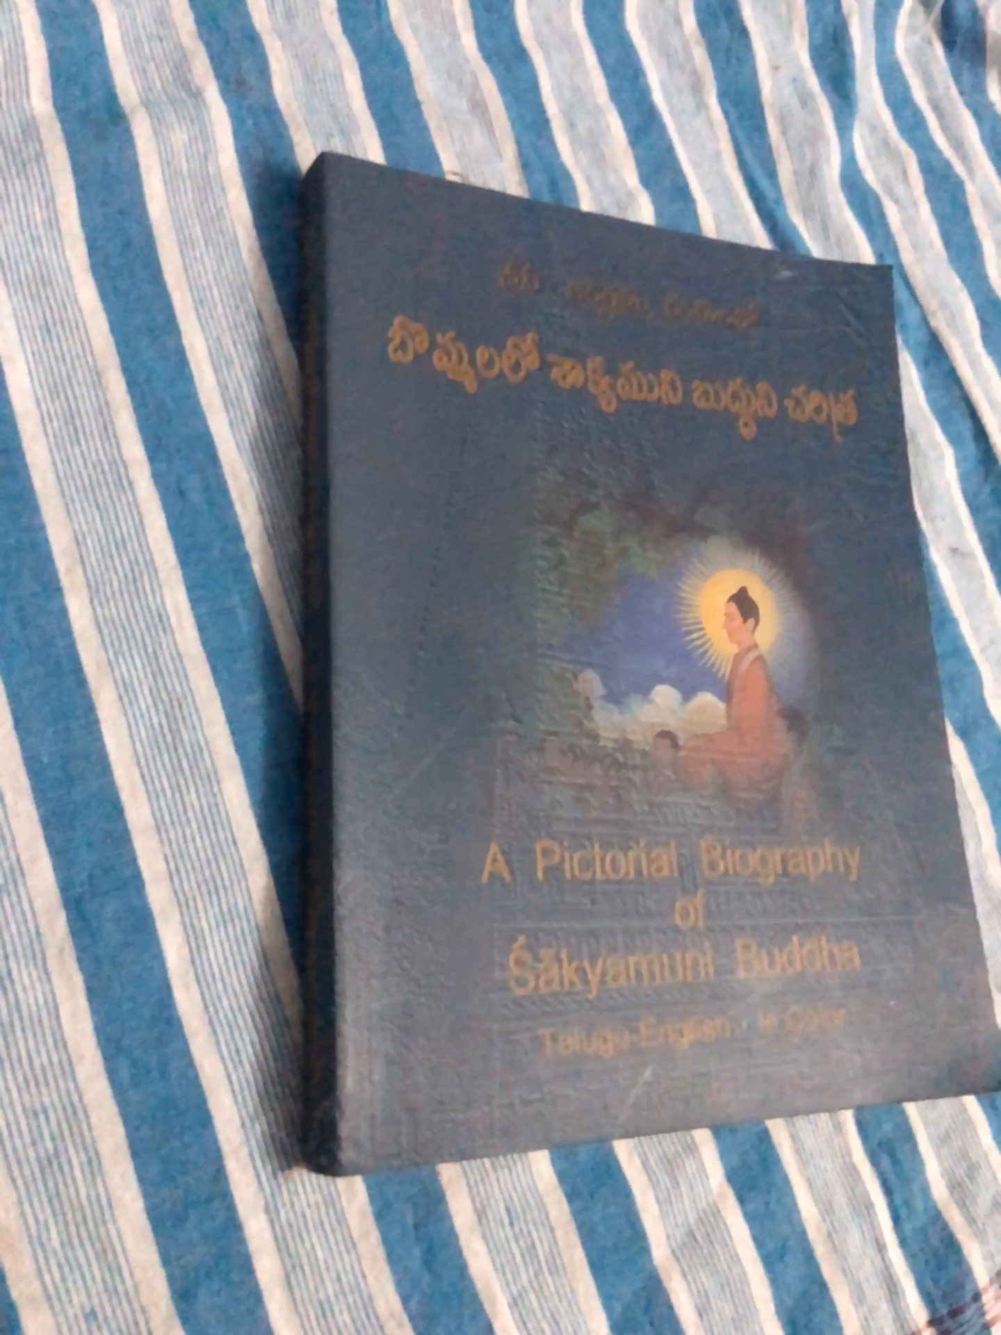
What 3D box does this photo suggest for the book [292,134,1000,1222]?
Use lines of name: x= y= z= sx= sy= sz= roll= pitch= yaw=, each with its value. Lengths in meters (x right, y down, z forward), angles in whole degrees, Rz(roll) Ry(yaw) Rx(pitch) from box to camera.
book: x=0.040 y=-0.006 z=0.259 sx=0.171 sy=0.020 sz=0.220 roll=3 pitch=73 yaw=-22
